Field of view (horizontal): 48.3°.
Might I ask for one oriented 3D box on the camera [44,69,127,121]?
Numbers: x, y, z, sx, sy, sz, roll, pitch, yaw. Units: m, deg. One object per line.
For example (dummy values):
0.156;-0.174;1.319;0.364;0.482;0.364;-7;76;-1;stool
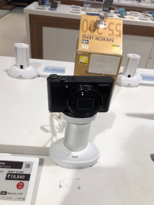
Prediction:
0.009;-0.009;0.258;0.110;0.070;0.030;2;36;-6;camera
